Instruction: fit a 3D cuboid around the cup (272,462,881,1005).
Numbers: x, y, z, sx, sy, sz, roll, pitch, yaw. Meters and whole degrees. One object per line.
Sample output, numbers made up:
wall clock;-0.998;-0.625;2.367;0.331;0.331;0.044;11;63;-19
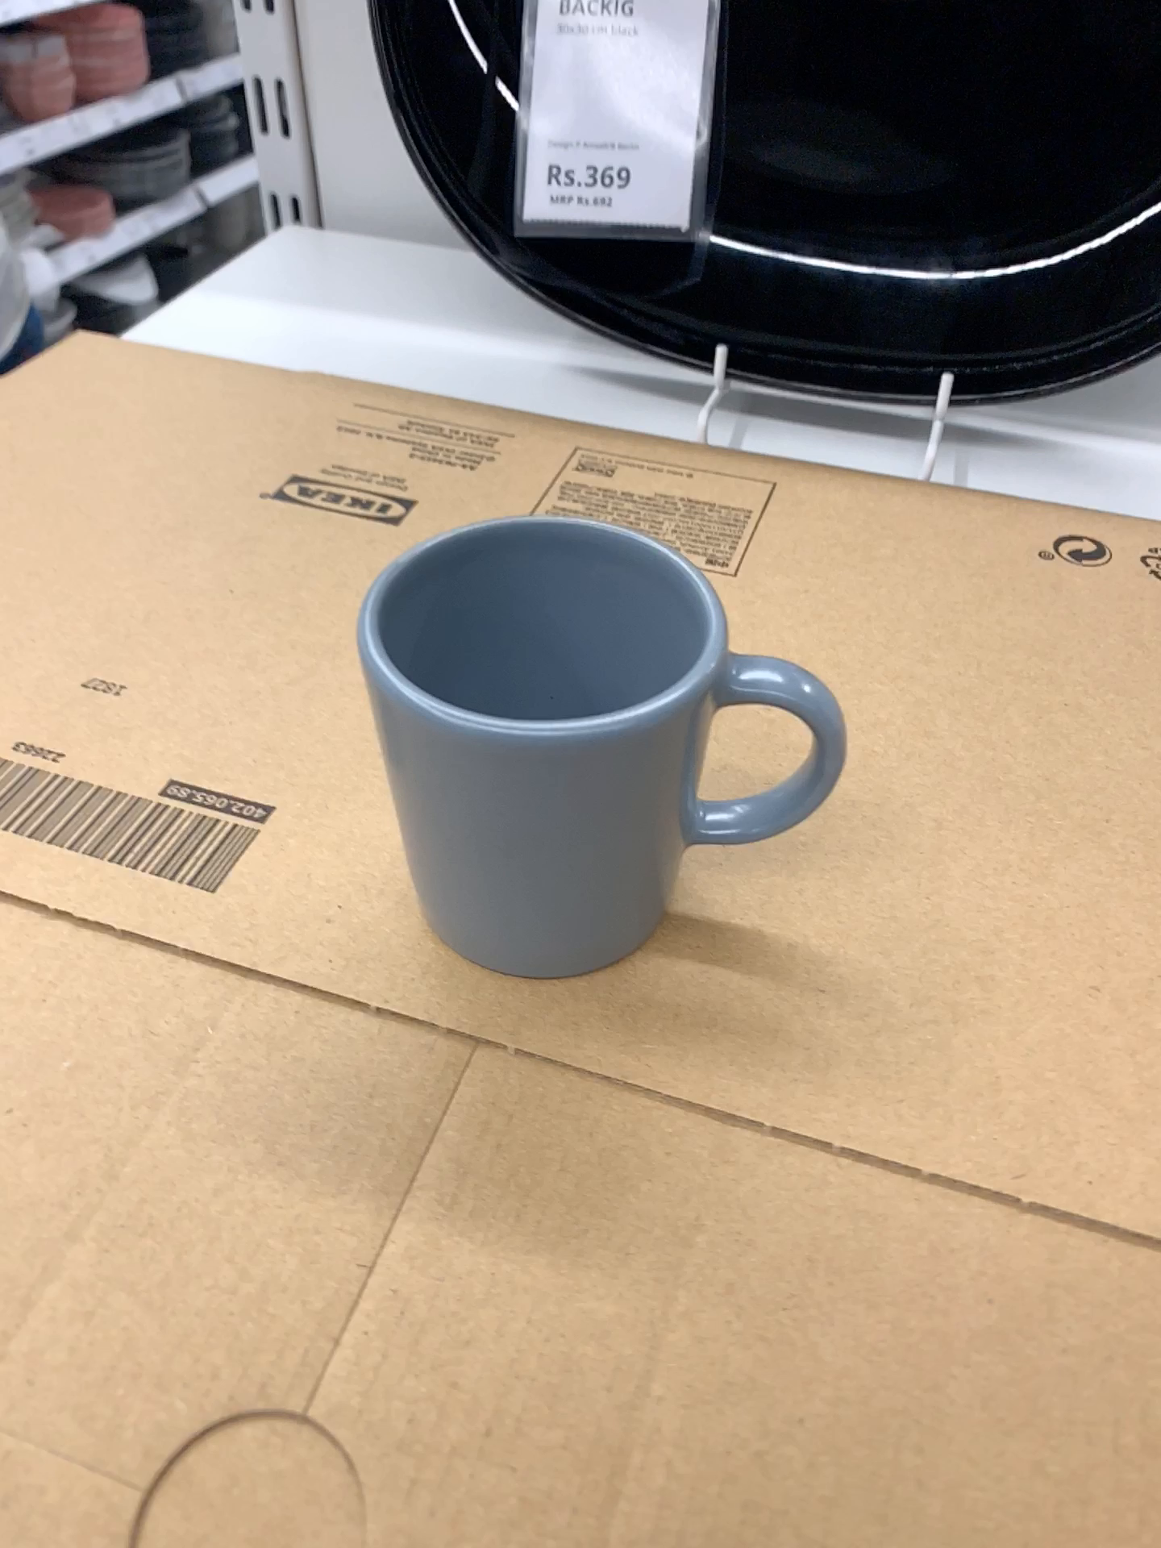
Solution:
cup;0.001;-0.008;0.200;0.080;0.060;0.060;4;41;2
